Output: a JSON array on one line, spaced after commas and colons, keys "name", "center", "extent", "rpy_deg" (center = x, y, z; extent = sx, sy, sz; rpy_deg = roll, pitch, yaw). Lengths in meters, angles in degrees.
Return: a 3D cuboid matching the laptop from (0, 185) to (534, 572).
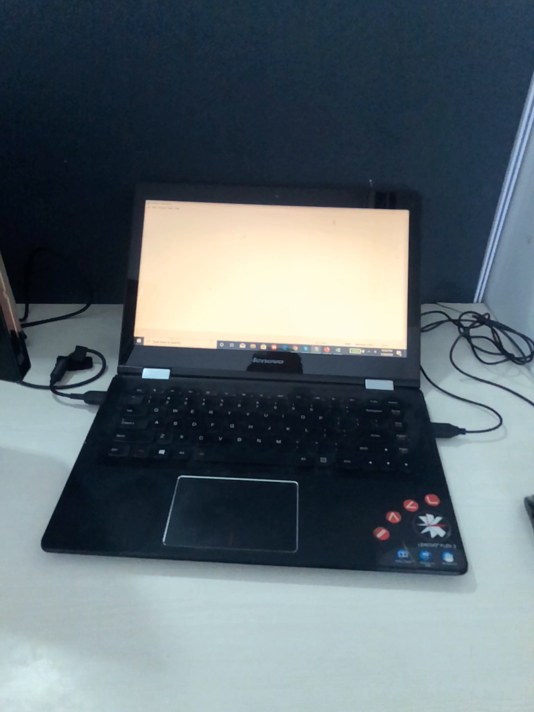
[{"name": "laptop", "center": [0.001, -0.018, 0.569], "extent": [0.334, 0.170, 0.388], "rpy_deg": [3, 33, 1]}]
